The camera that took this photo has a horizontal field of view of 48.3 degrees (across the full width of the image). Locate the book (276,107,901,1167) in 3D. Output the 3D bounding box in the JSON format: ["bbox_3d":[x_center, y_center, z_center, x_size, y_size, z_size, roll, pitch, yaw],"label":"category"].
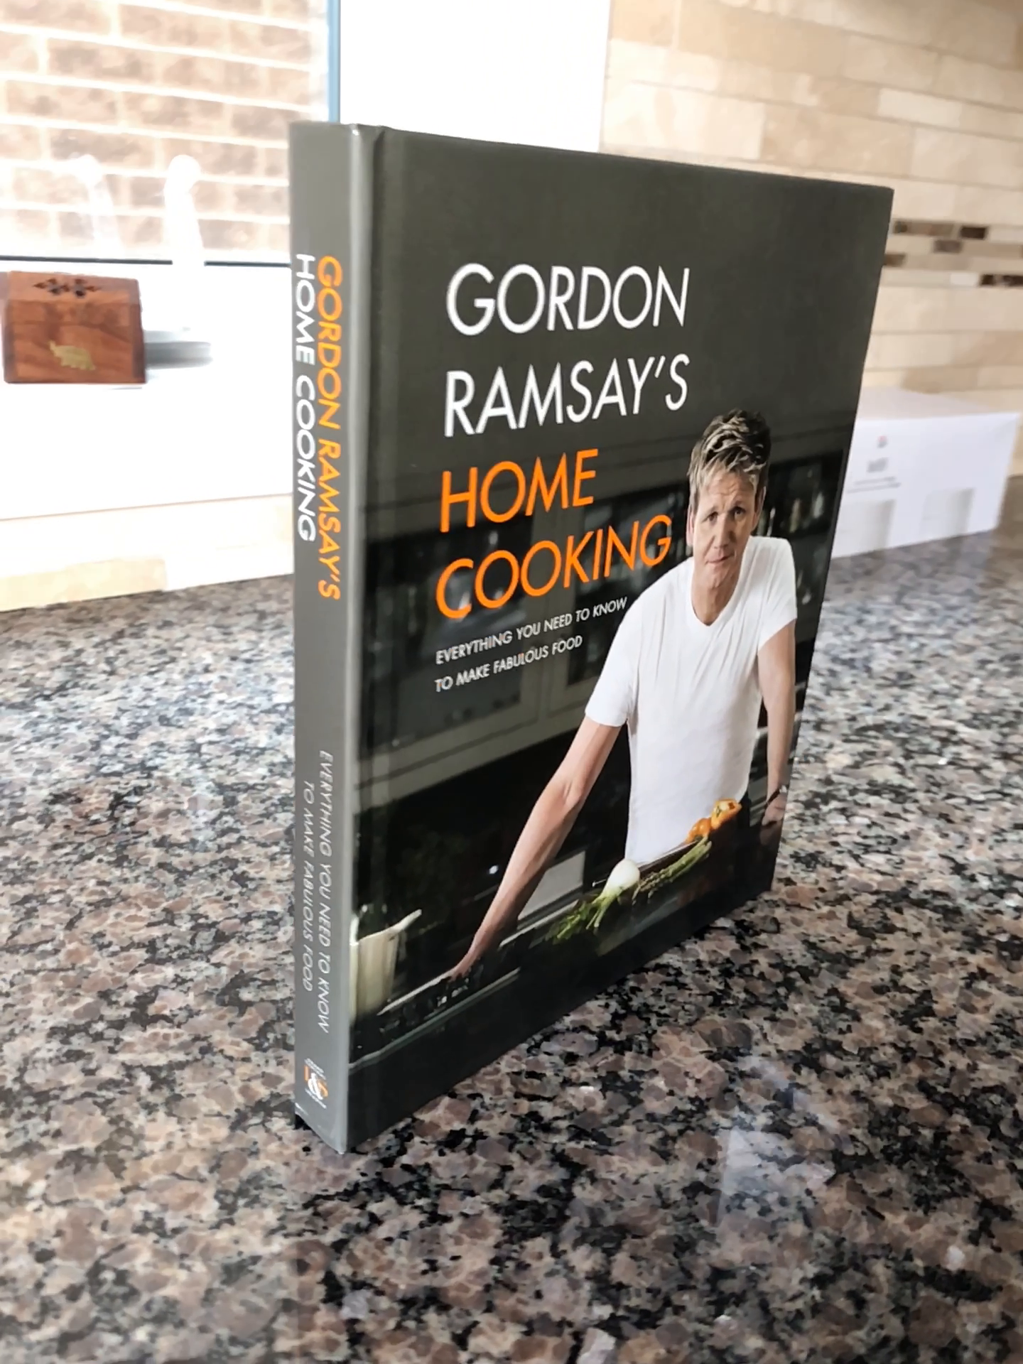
[{"bbox_3d":[0.030,-0.018,0.347,0.028,0.261,0.217,23,29,40],"label":"book"}]
